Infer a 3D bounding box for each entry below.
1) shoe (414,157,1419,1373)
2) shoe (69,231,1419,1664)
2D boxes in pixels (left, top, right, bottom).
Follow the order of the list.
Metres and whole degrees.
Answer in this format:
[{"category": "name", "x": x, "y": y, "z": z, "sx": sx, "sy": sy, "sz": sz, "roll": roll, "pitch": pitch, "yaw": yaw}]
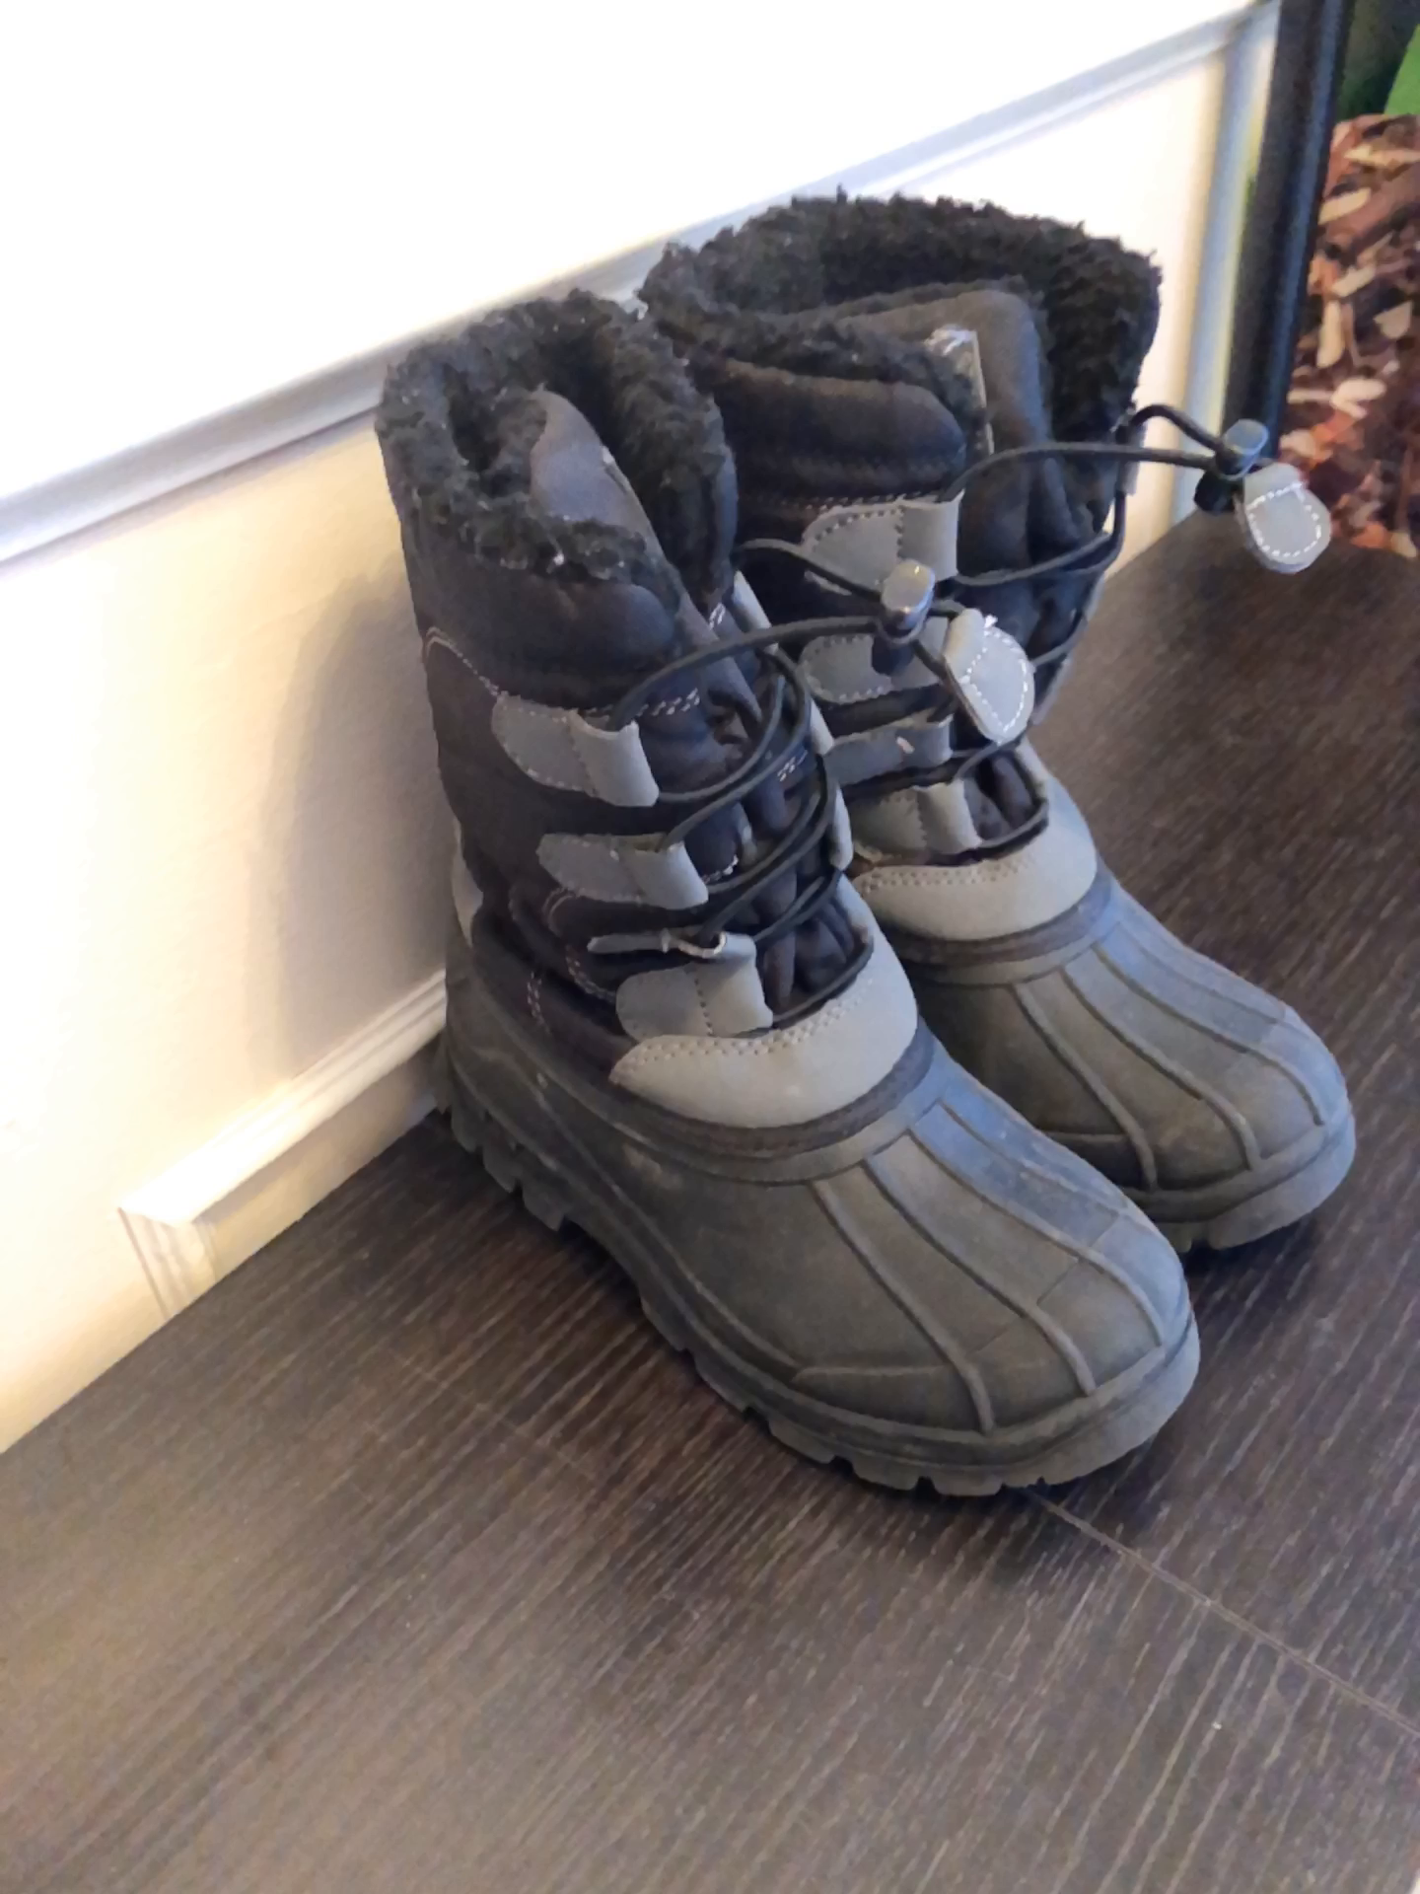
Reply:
[{"category": "shoe", "x": 0.057, "y": -0.053, "z": 0.375, "sx": 0.221, "sy": 0.209, "sz": 0.100, "roll": 26, "pitch": 47, "yaw": 33}, {"category": "shoe", "x": 0.002, "y": -0.011, "z": 0.324, "sx": 0.221, "sy": 0.209, "sz": 0.100, "roll": 26, "pitch": 47, "yaw": 33}]
